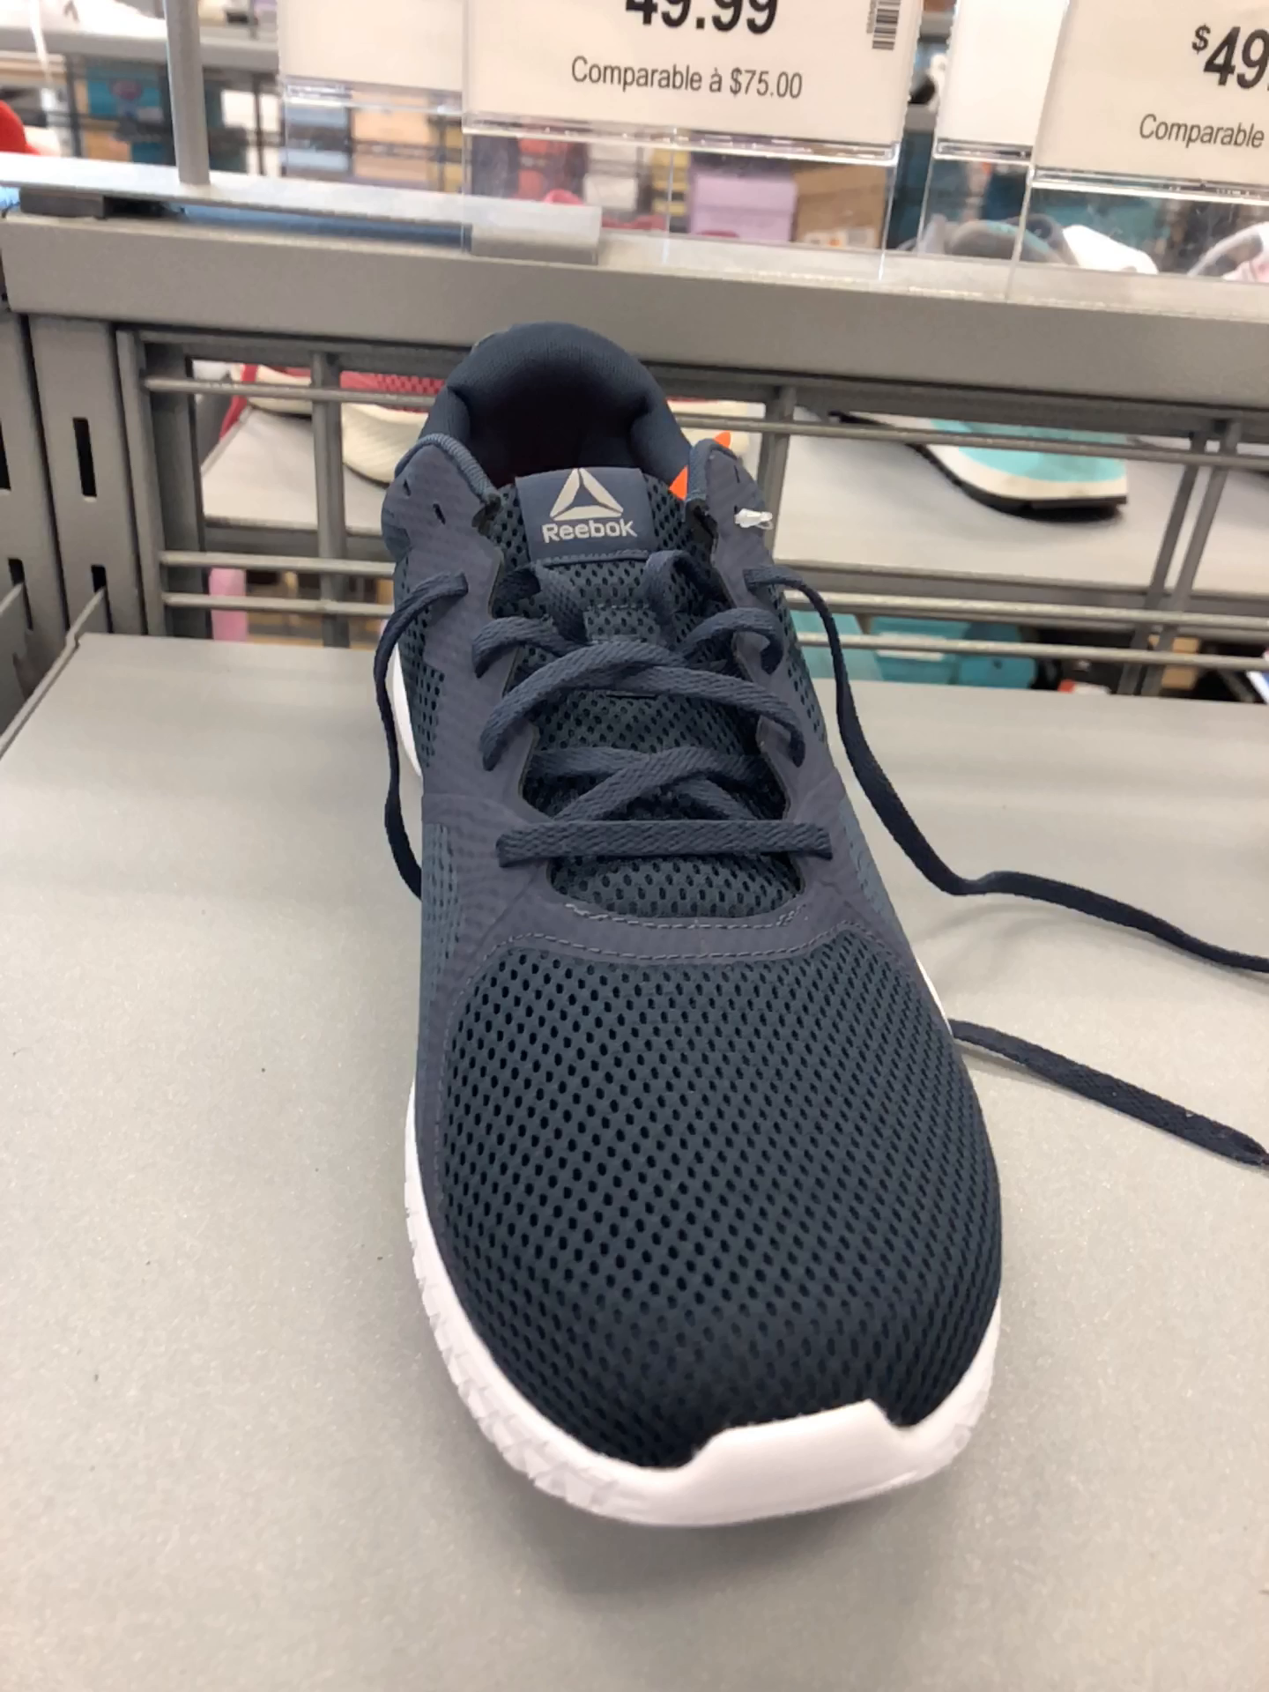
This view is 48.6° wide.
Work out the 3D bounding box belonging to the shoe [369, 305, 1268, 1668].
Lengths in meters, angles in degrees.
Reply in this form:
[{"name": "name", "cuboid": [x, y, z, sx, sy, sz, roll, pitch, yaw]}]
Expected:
[{"name": "shoe", "cuboid": [0.006, -0.022, 0.308, 0.120, 0.109, 0.322, -1, 33, -11]}]
